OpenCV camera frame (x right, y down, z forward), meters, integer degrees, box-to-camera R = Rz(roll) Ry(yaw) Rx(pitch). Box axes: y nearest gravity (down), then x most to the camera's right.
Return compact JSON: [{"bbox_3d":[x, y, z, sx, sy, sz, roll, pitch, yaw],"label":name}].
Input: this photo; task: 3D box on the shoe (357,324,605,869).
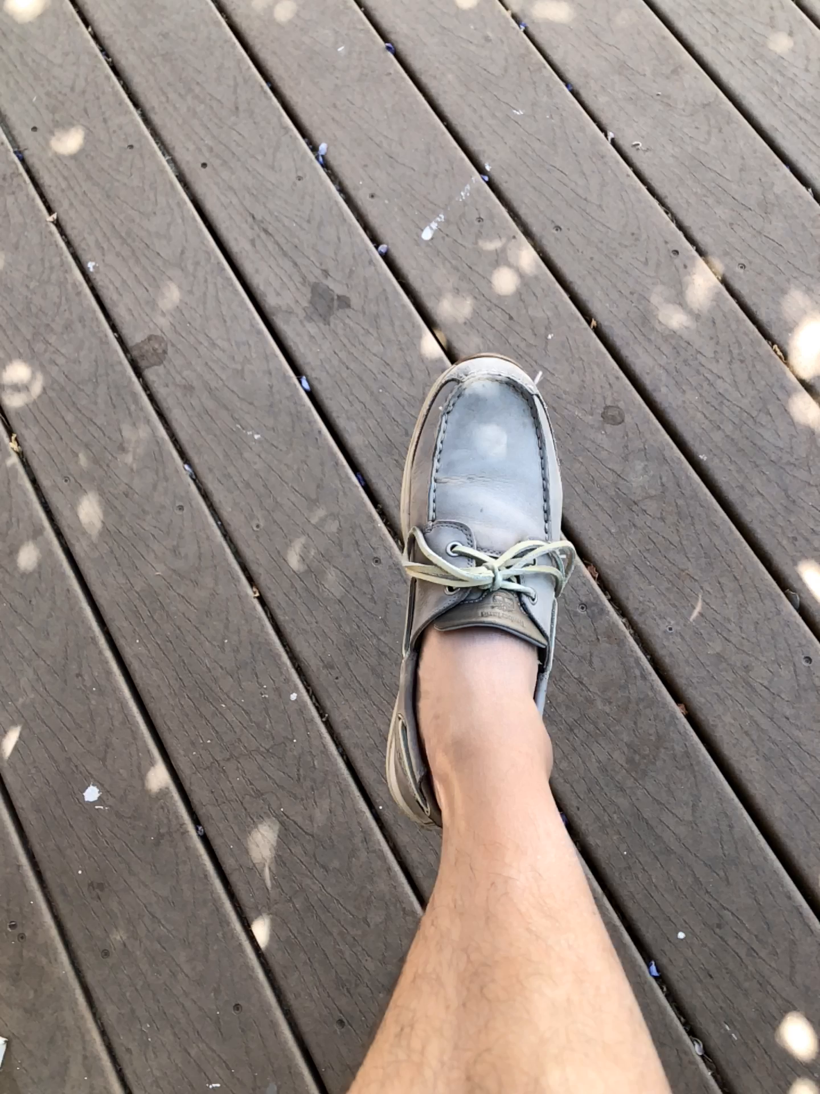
[{"bbox_3d":[0.046,0.027,0.567,0.115,0.085,0.306,5,85,5],"label":"shoe"}]
